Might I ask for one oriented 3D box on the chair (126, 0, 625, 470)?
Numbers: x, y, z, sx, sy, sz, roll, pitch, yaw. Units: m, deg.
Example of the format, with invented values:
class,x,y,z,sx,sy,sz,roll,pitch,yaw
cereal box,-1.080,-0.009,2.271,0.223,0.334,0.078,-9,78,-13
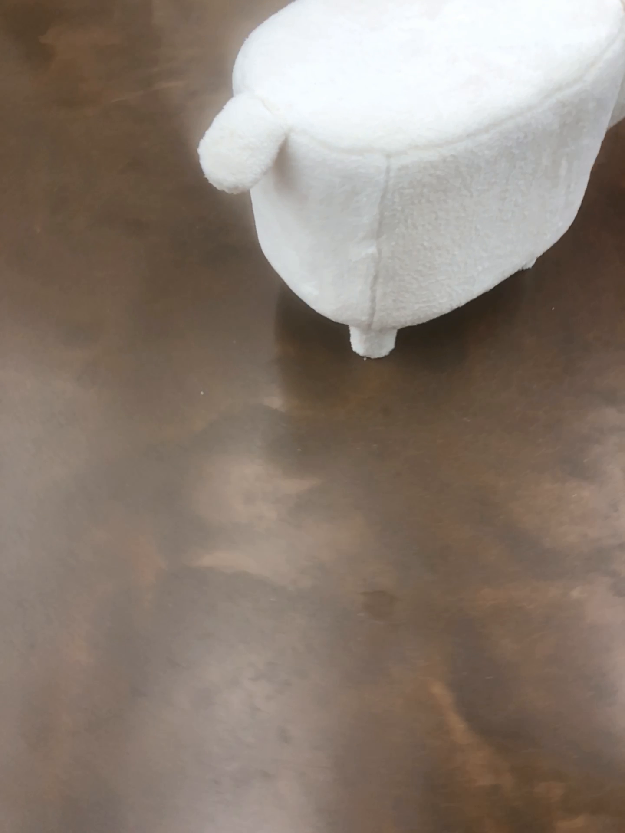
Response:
class,x,y,z,sx,sy,sz,roll,pitch,yaw
chair,0.189,-0.328,0.865,0.630,0.349,0.441,-27,59,-14
